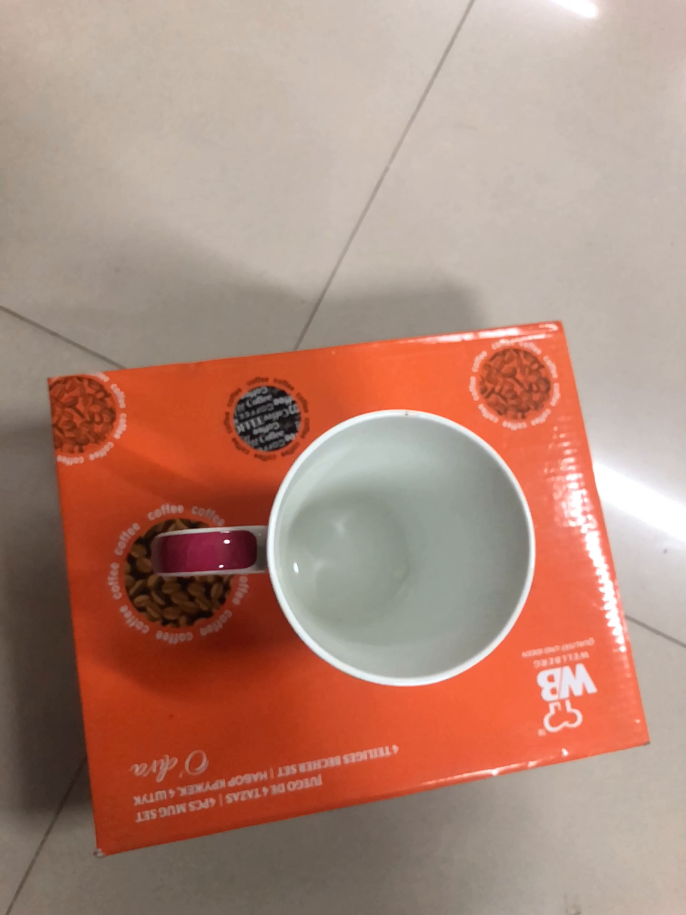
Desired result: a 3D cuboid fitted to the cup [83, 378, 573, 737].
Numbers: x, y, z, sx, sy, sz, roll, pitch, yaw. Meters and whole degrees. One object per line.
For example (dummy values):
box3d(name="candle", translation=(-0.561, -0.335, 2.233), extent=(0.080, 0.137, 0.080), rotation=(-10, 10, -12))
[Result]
box3d(name="cup", translation=(-0.011, 0.031, 0.264), extent=(0.130, 0.110, 0.090), rotation=(-2, 82, -8))
